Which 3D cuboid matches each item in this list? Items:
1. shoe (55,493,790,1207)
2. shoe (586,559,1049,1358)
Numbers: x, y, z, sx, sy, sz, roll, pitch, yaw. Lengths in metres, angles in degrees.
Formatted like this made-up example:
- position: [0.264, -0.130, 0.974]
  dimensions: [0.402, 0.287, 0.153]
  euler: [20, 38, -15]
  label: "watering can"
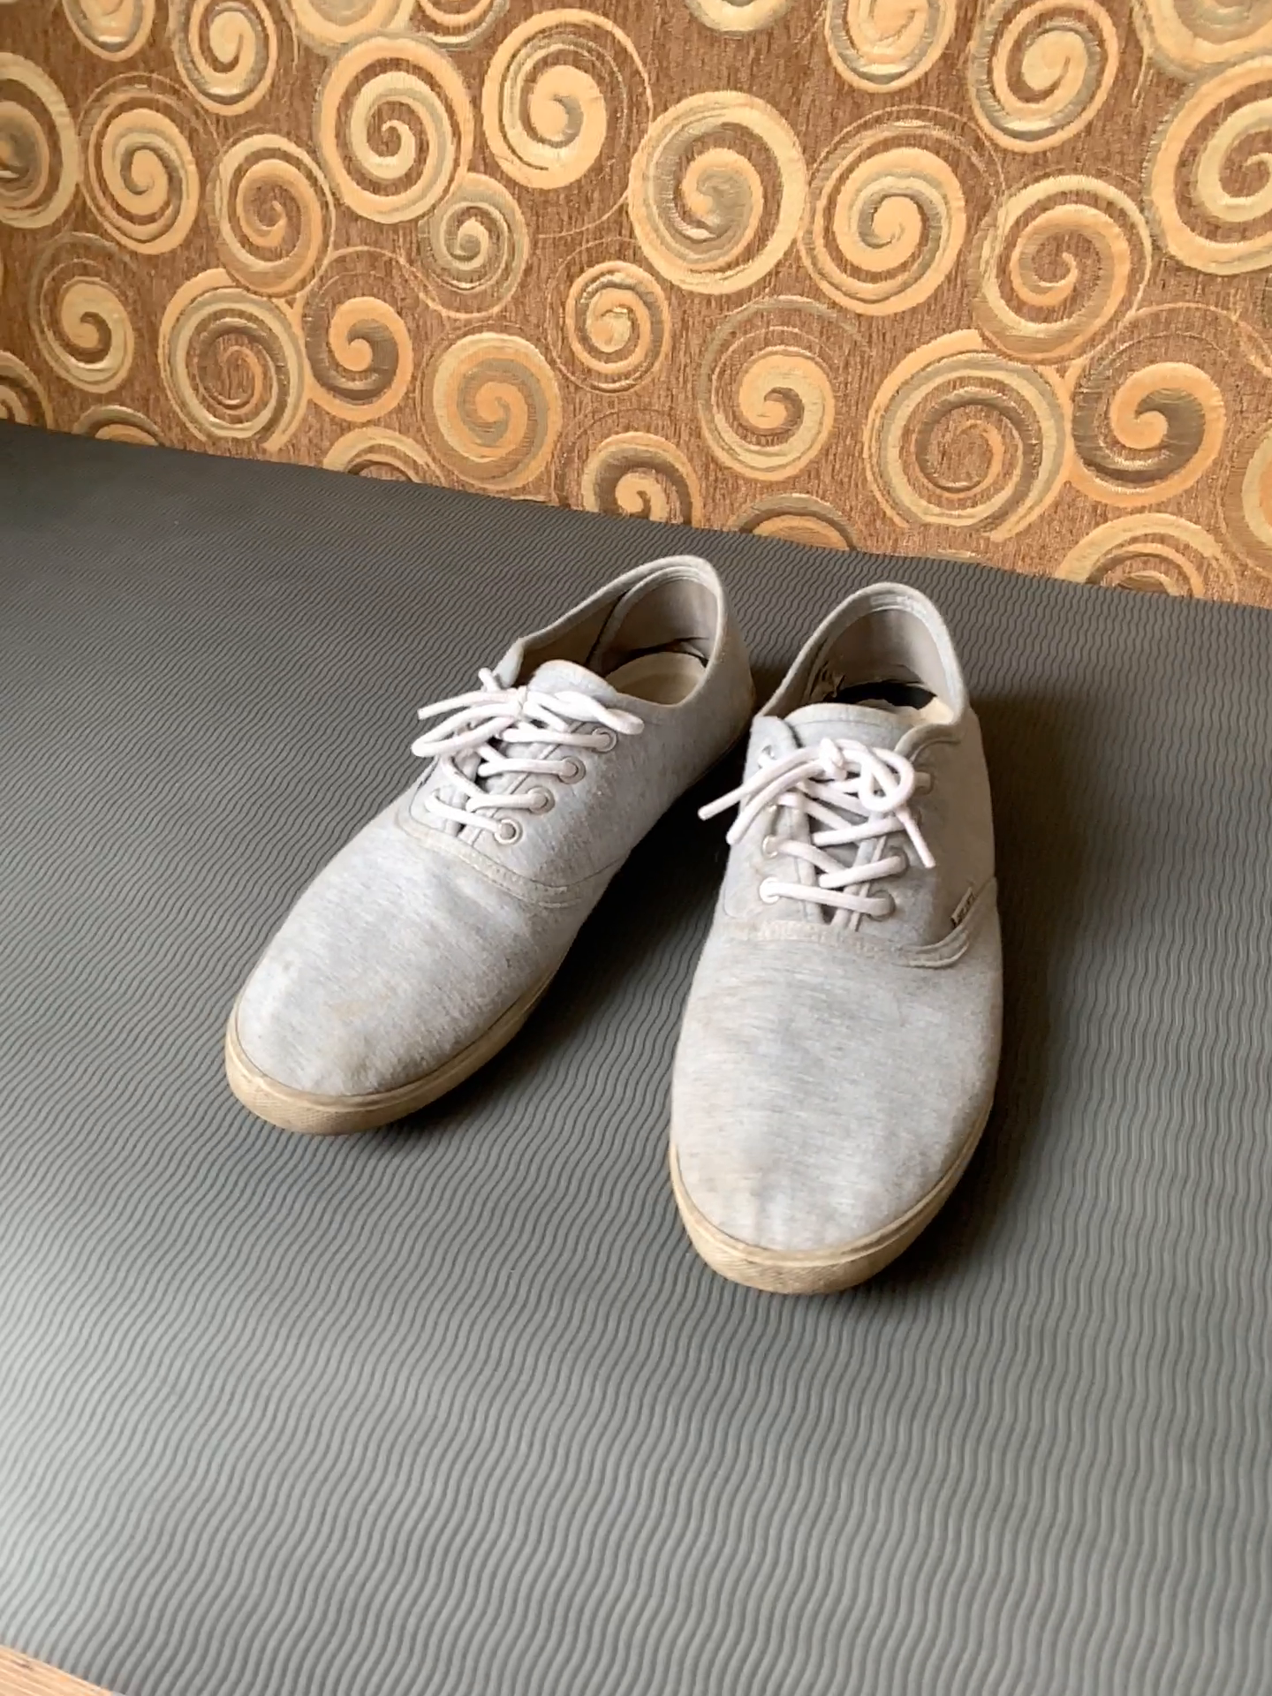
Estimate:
- position: [-0.057, -0.017, 0.472]
  dimensions: [0.110, 0.080, 0.261]
  euler: [24, 53, 24]
  label: "shoe"
- position: [0.072, 0.016, 0.435]
  dimensions: [0.110, 0.080, 0.261]
  euler: [8, 48, 11]
  label: "shoe"
